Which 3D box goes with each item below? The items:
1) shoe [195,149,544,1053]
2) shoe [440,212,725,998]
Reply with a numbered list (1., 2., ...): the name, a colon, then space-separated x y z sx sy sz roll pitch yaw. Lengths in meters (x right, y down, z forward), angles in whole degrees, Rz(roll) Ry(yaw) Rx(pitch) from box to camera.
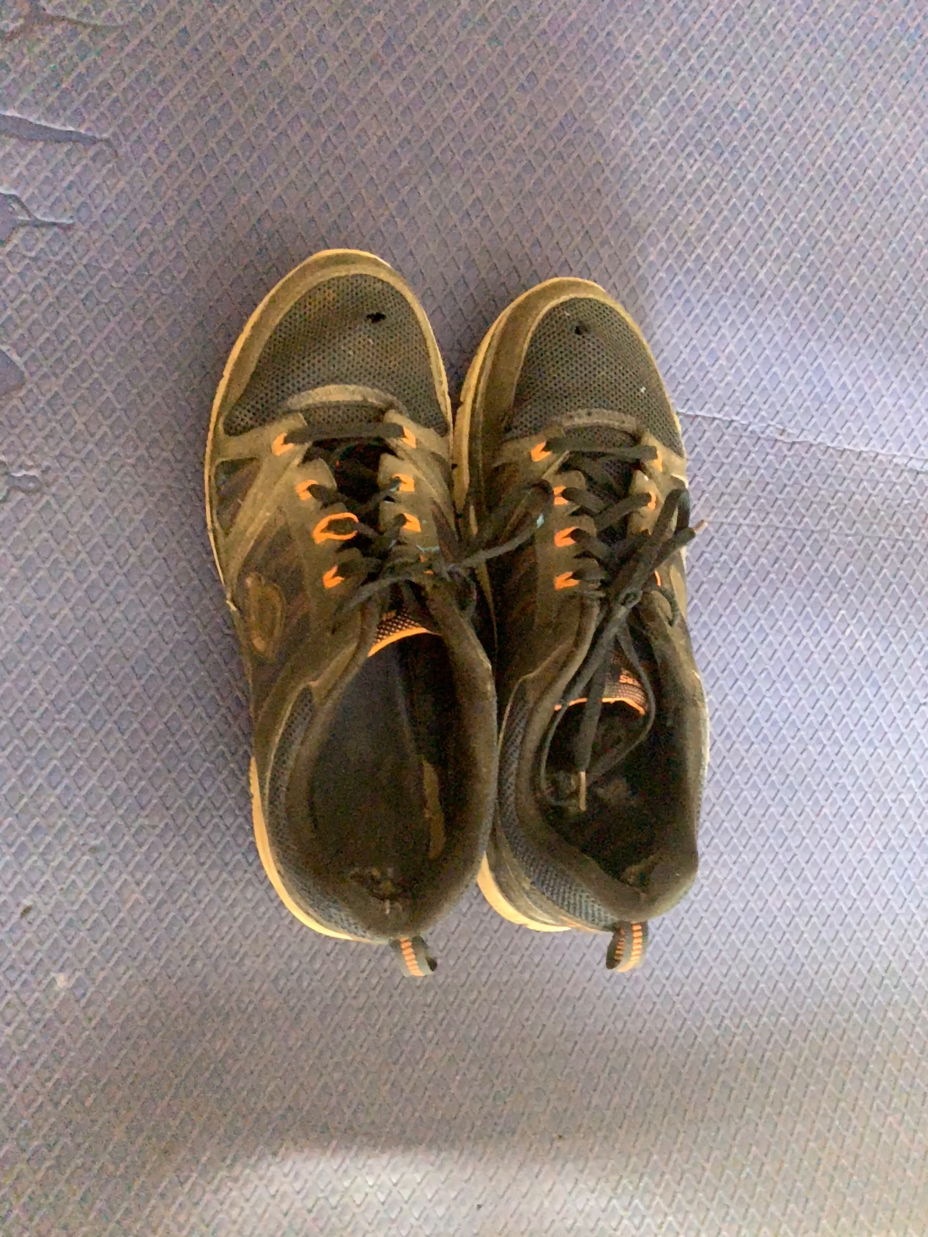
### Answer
1. shoe: -0.046 -0.008 0.391 0.110 0.100 0.310 -2 87 -18
2. shoe: 0.051 -0.005 0.446 0.100 0.100 0.320 2 86 -11
